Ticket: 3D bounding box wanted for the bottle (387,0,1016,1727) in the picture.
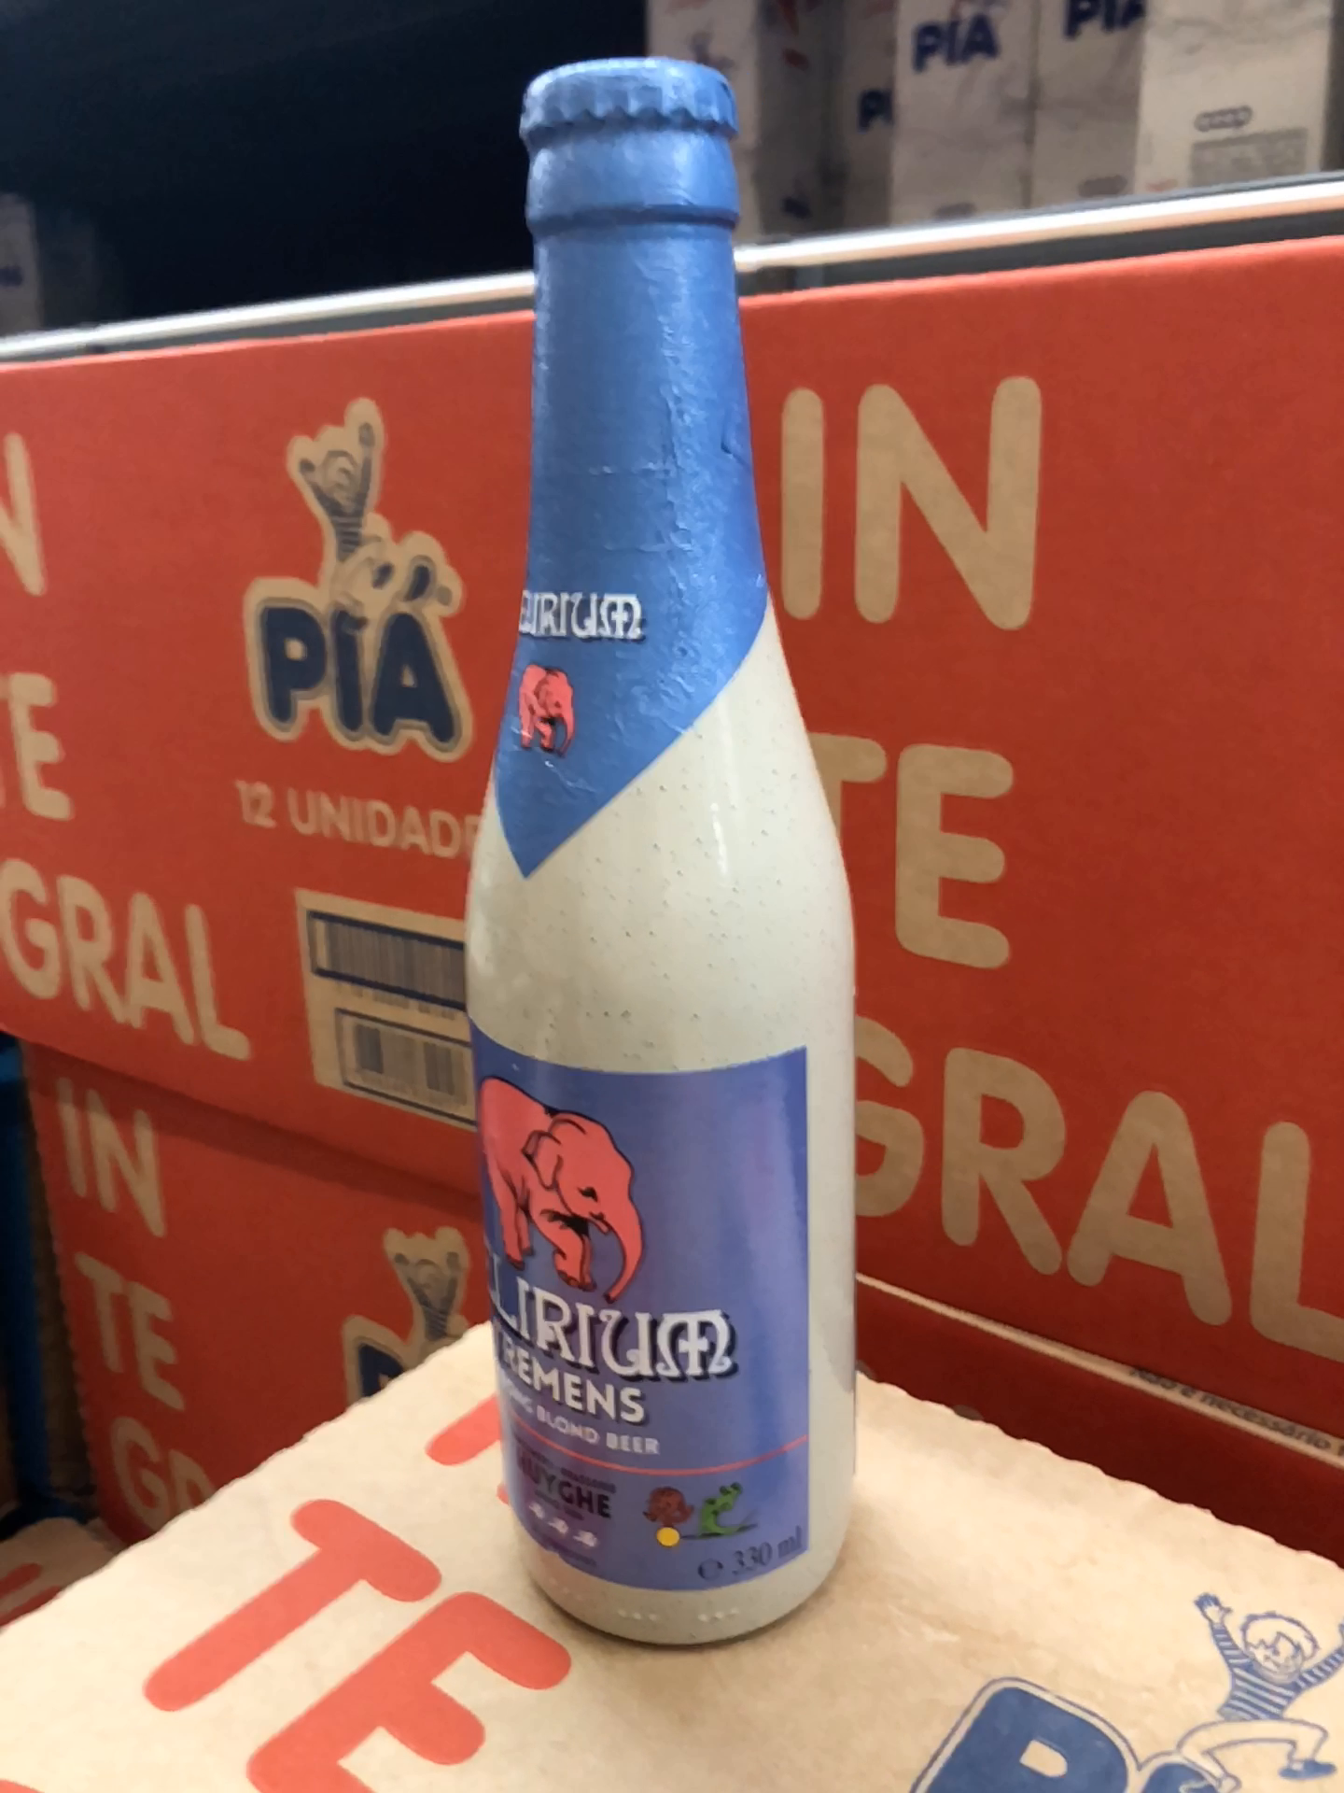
[{"bbox_3d":[0.004,0.000,0.227,0.060,0.219,0.060,0,13,0],"label":"bottle"}]
